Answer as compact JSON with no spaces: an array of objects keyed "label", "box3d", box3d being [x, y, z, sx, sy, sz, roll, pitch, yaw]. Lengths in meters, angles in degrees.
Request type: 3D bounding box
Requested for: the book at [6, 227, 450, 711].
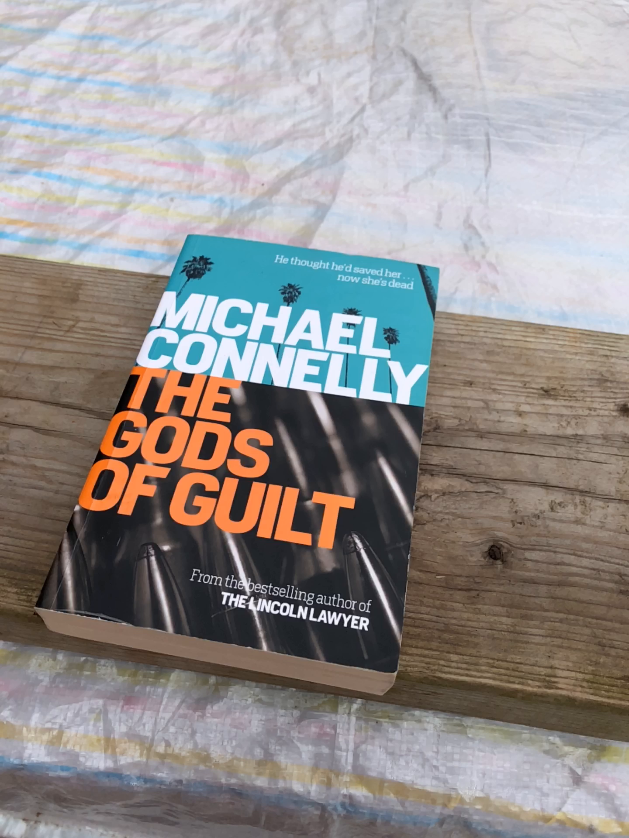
[{"label":"book","box3d":[-0.020,0.006,0.308,0.140,0.040,0.201,9,55,4]}]
